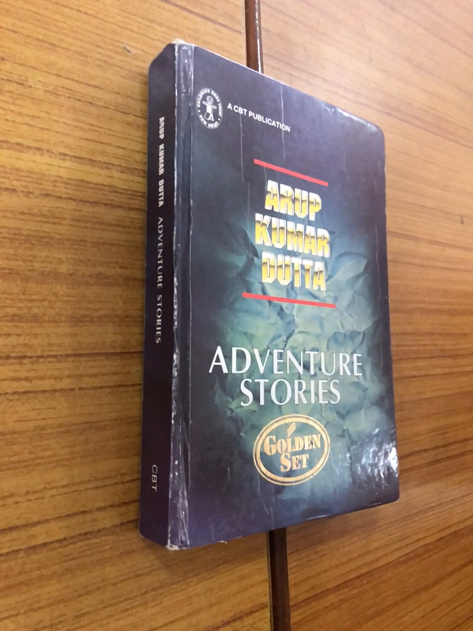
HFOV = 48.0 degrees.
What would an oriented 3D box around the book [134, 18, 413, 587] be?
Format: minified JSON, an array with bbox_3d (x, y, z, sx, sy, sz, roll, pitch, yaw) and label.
[{"bbox_3d":[0.026,-0.004,0.261,0.146,0.036,0.218,4,84,-38],"label":"book"}]
